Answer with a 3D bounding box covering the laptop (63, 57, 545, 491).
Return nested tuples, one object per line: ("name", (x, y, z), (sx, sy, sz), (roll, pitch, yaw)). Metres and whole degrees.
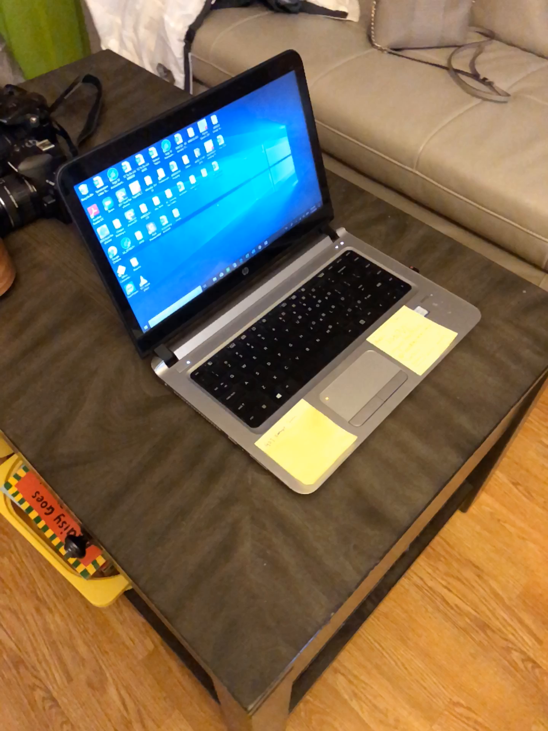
("laptop", (0.029, -0.117, 0.633), (0.314, 0.203, 0.316), (36, 60, 24))
